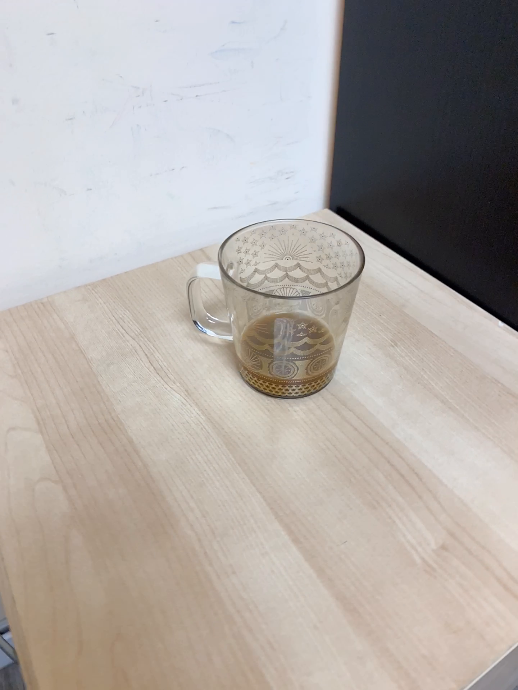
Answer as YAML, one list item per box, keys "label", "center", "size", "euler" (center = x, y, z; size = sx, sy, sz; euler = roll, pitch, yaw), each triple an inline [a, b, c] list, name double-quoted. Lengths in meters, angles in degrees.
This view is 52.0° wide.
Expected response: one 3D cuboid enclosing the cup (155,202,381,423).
- label: "cup"
  center: [0.011, -0.027, 0.379]
  size: [0.124, 0.098, 0.099]
  euler: [11, 42, 14]
